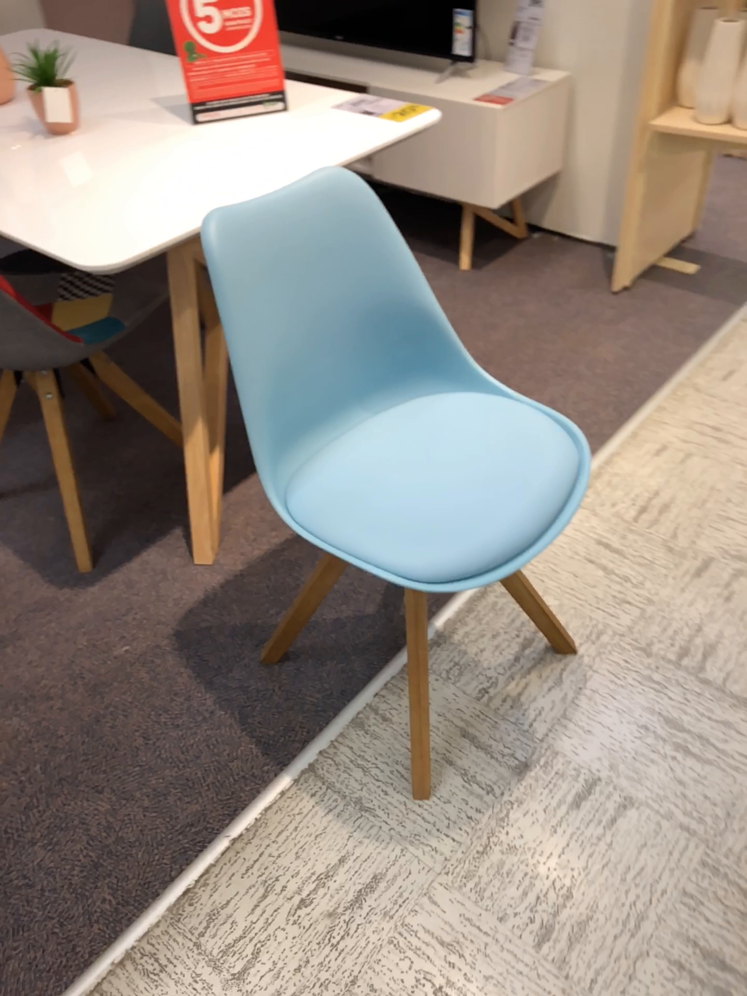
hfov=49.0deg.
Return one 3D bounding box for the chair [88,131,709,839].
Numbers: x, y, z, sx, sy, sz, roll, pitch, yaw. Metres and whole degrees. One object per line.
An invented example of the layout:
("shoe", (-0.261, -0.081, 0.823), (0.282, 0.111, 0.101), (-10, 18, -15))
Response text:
("chair", (0.046, -0.037, 1.286), (0.561, 0.796, 0.542), (30, 51, 33))
